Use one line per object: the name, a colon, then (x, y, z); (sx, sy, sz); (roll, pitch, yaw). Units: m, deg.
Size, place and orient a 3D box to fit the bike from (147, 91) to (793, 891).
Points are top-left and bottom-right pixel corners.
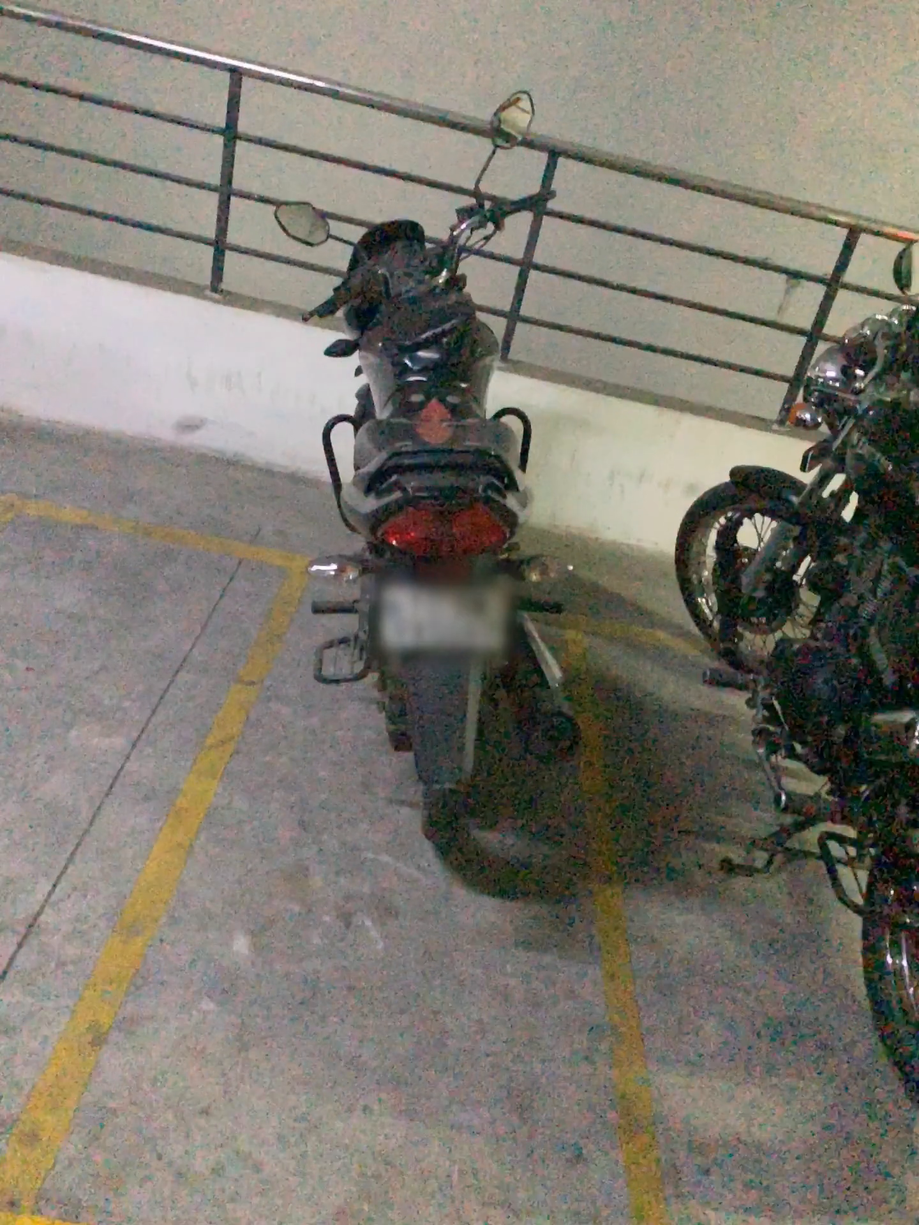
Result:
bike: (-0.203, -0.445, 2.112); (0.755, 1.067, 1.684); (6, 29, -15)
